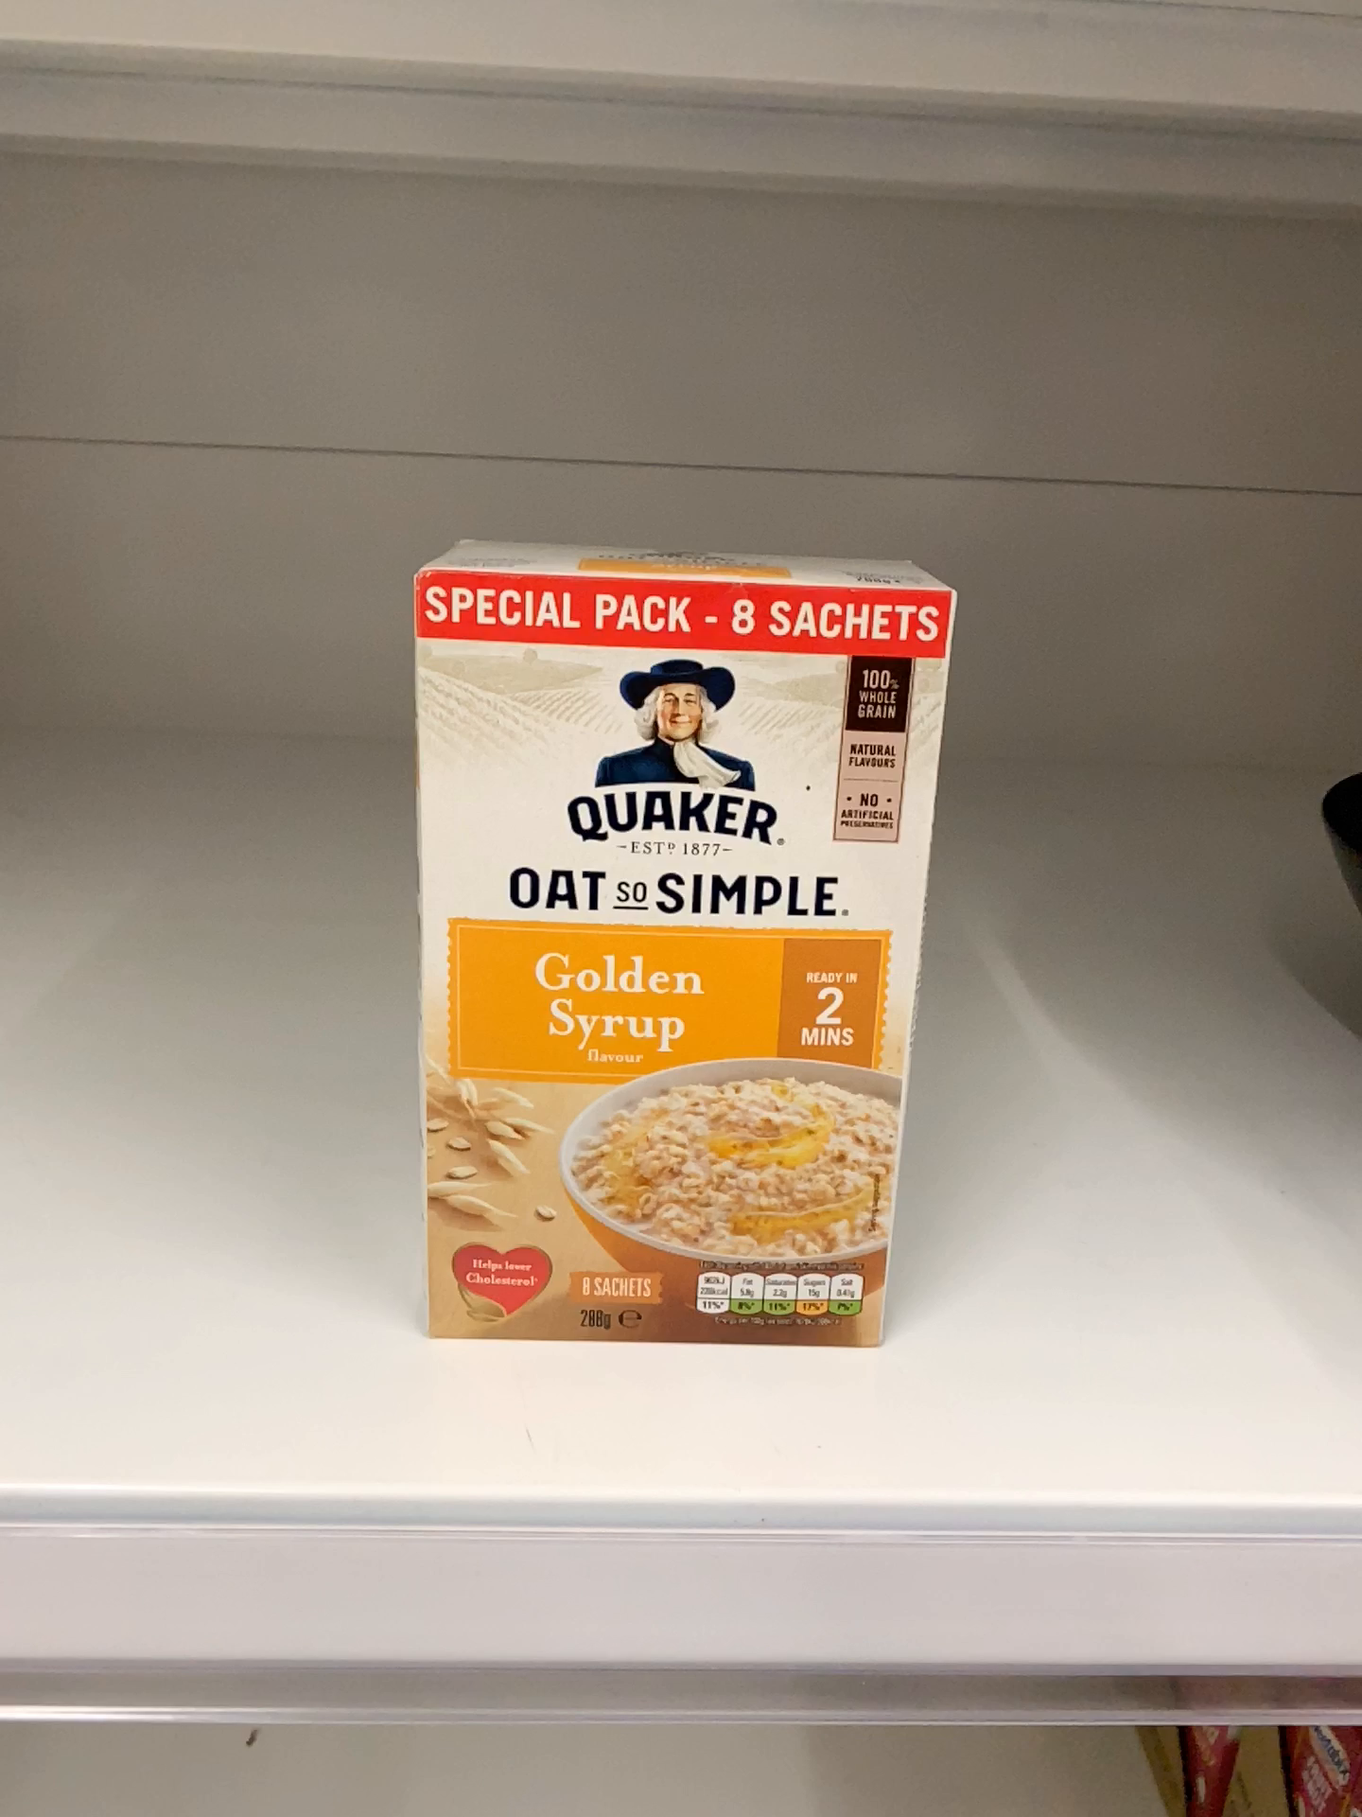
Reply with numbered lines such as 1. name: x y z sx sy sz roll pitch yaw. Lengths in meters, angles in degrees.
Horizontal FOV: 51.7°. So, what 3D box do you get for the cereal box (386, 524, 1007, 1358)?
1. cereal box: -0.001 0.009 0.380 0.140 0.209 0.070 2 17 -3
